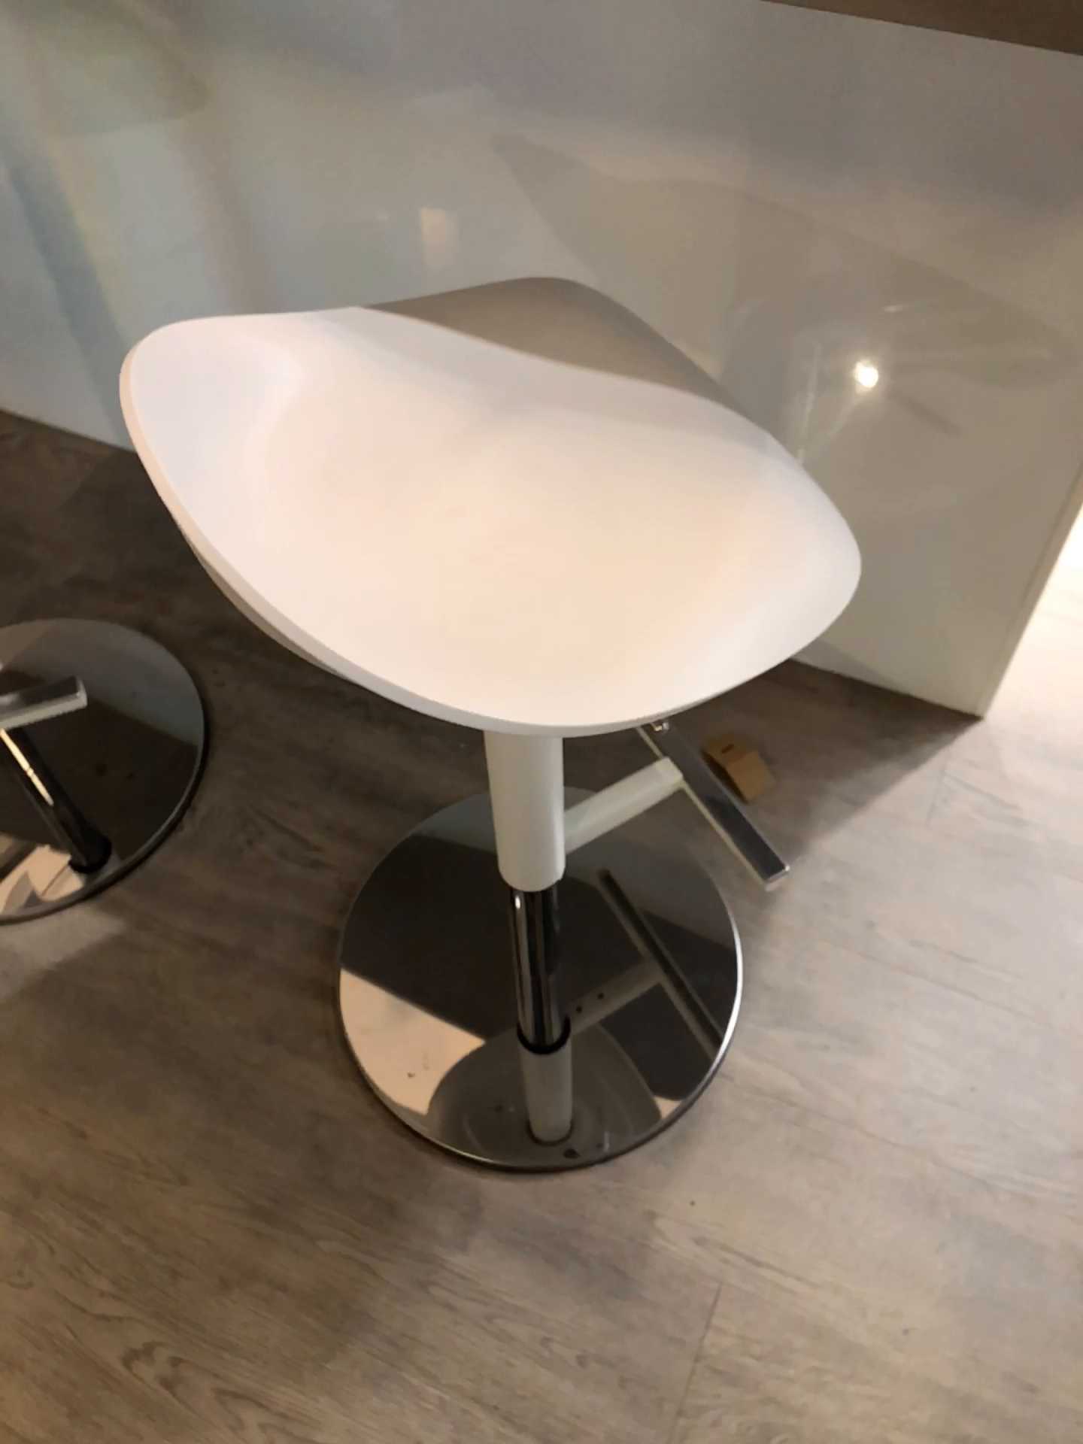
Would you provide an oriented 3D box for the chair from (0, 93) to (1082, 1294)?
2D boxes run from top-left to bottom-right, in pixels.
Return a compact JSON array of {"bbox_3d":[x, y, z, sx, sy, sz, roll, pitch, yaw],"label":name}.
[{"bbox_3d":[-0.026,0.036,0.915,0.440,0.716,0.442,-29,59,-18],"label":"chair"}]
